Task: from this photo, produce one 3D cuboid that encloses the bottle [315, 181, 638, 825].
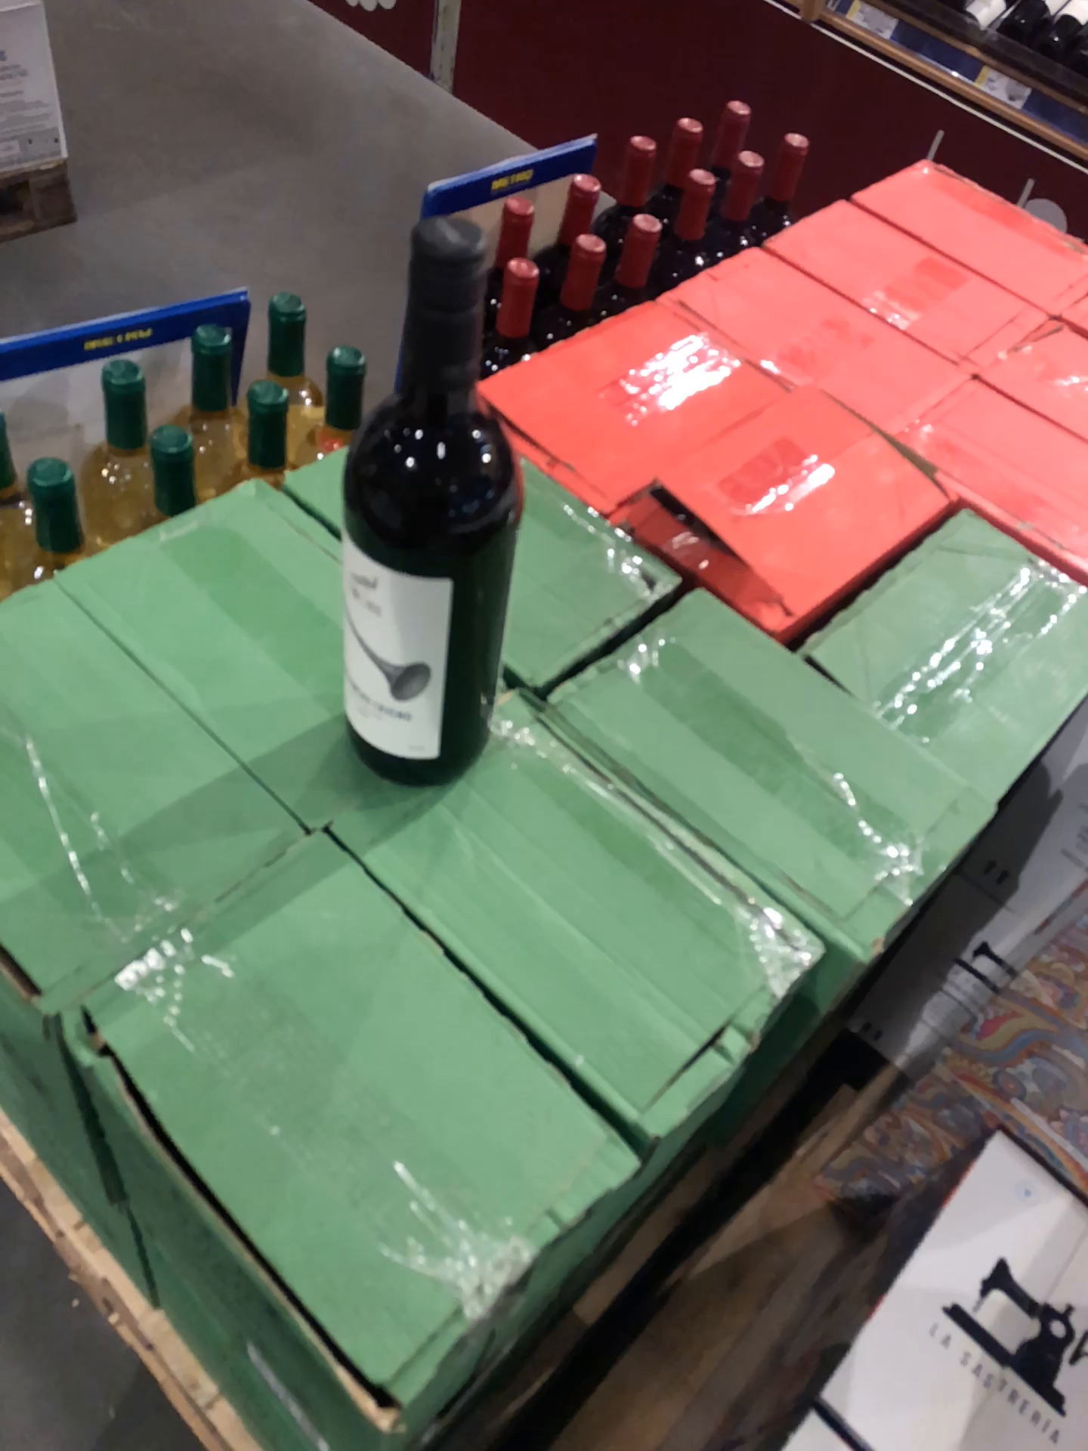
[{"bbox_3d":[-0.046,-0.084,0.550,0.080,0.288,0.090,-31,63,-30],"label":"bottle"}]
